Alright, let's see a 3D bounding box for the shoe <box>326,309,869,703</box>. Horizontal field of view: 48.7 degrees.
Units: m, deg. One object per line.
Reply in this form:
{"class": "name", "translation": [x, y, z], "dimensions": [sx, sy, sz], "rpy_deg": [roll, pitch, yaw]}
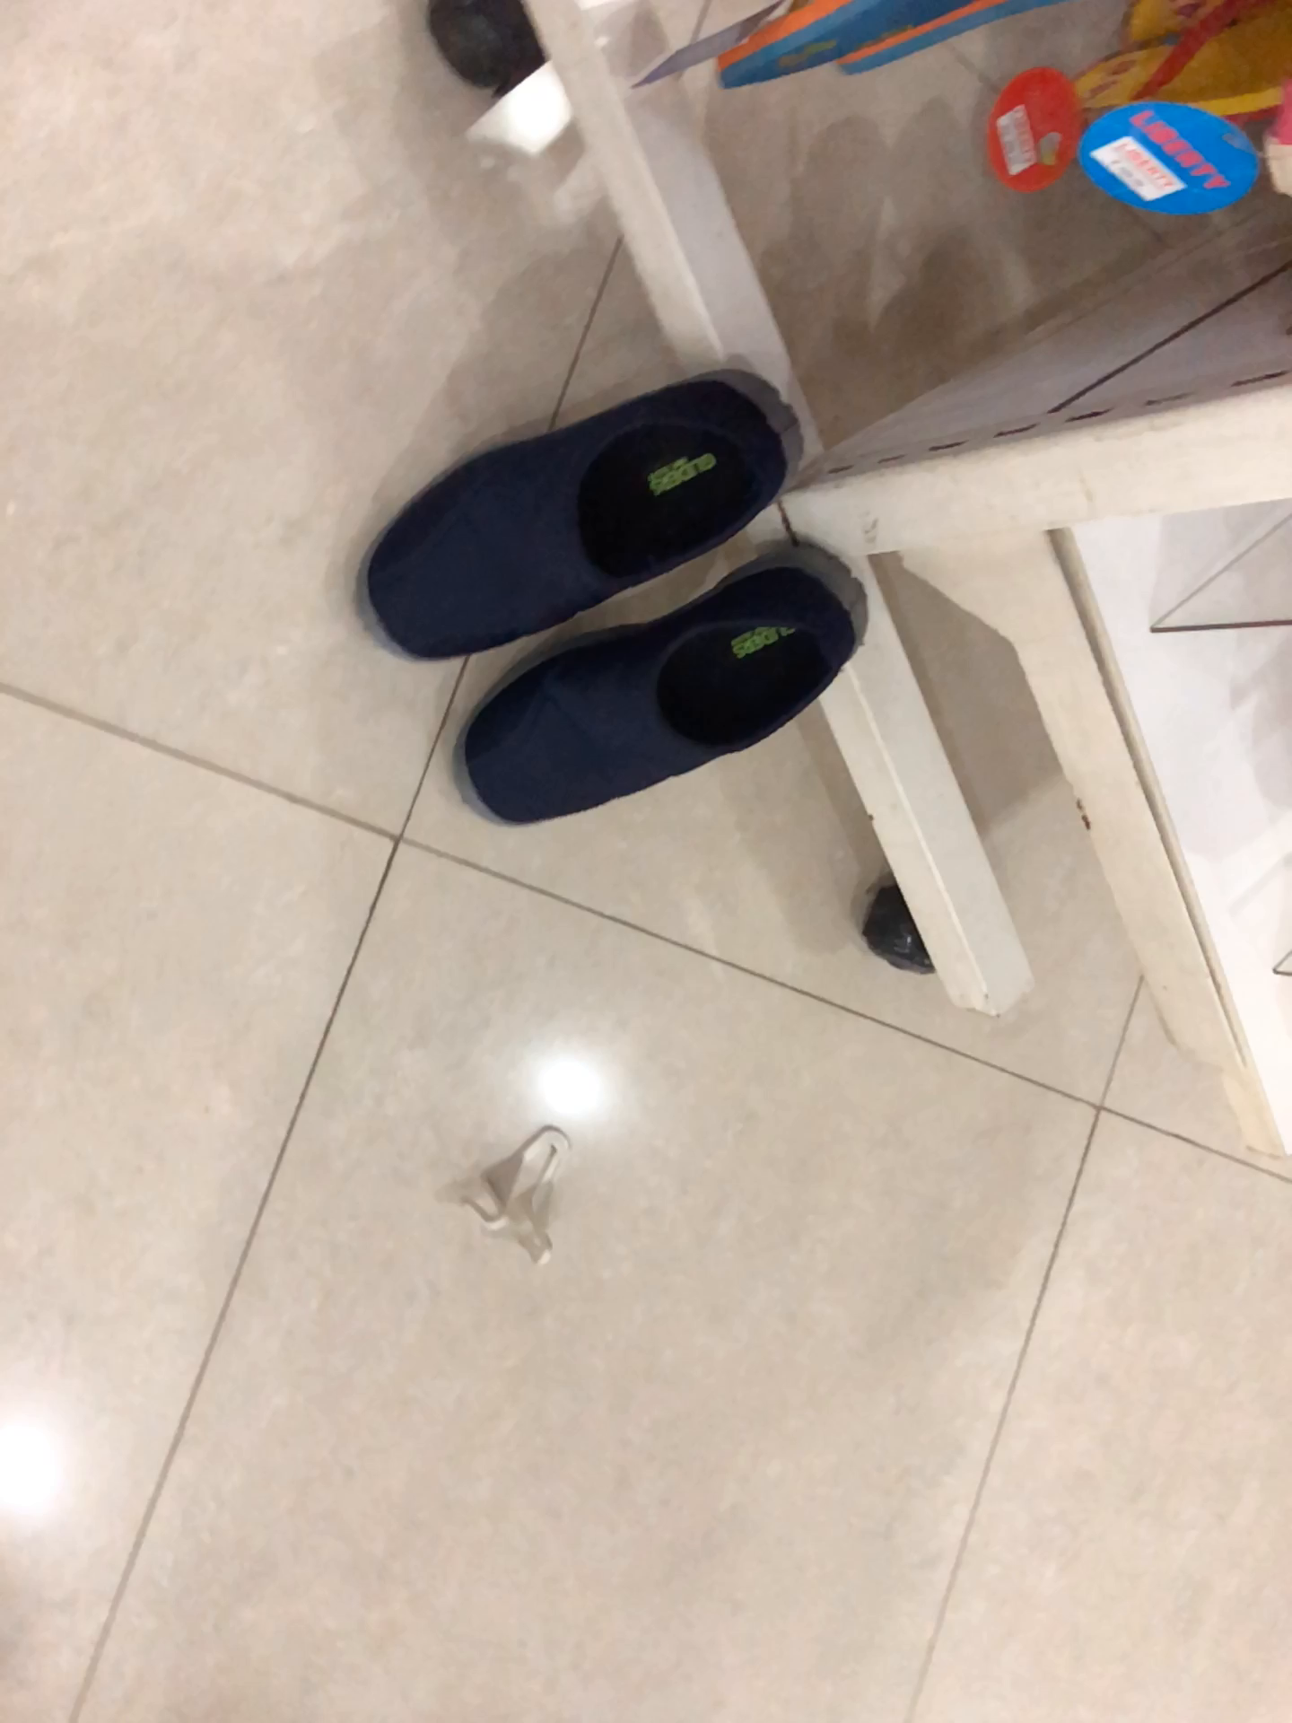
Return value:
{"class": "shoe", "translation": [-0.027, -0.205, 0.824], "dimensions": [0.288, 0.063, 0.107], "rpy_deg": [-27, 109, -8]}

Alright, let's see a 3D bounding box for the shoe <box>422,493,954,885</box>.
{"class": "shoe", "translation": [0.026, -0.108, 0.855], "dimensions": [0.288, 0.083, 0.110], "rpy_deg": [-27, 109, -10]}
